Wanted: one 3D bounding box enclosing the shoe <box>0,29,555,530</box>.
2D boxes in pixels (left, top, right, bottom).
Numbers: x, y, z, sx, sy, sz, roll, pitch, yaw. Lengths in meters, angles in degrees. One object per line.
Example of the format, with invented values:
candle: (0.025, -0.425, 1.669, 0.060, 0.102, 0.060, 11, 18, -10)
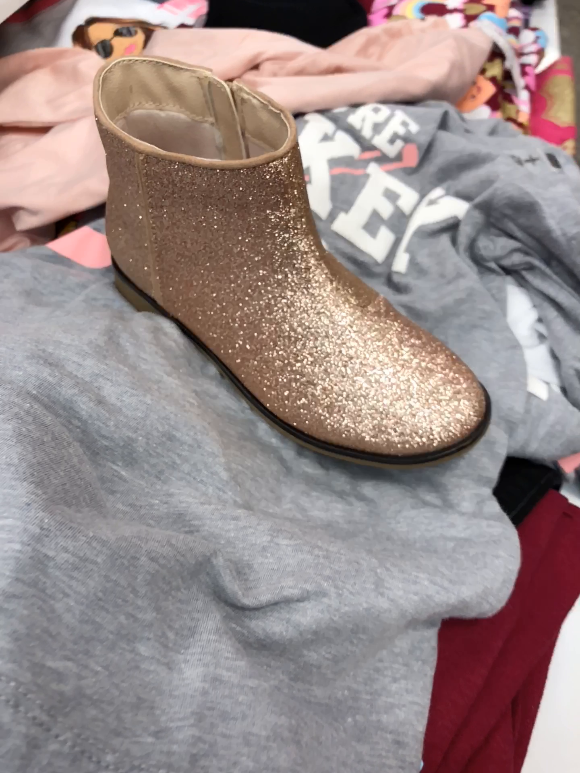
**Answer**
shoe: (-0.025, -0.059, 0.292, 0.238, 0.130, 0.083, 27, 60, 31)
